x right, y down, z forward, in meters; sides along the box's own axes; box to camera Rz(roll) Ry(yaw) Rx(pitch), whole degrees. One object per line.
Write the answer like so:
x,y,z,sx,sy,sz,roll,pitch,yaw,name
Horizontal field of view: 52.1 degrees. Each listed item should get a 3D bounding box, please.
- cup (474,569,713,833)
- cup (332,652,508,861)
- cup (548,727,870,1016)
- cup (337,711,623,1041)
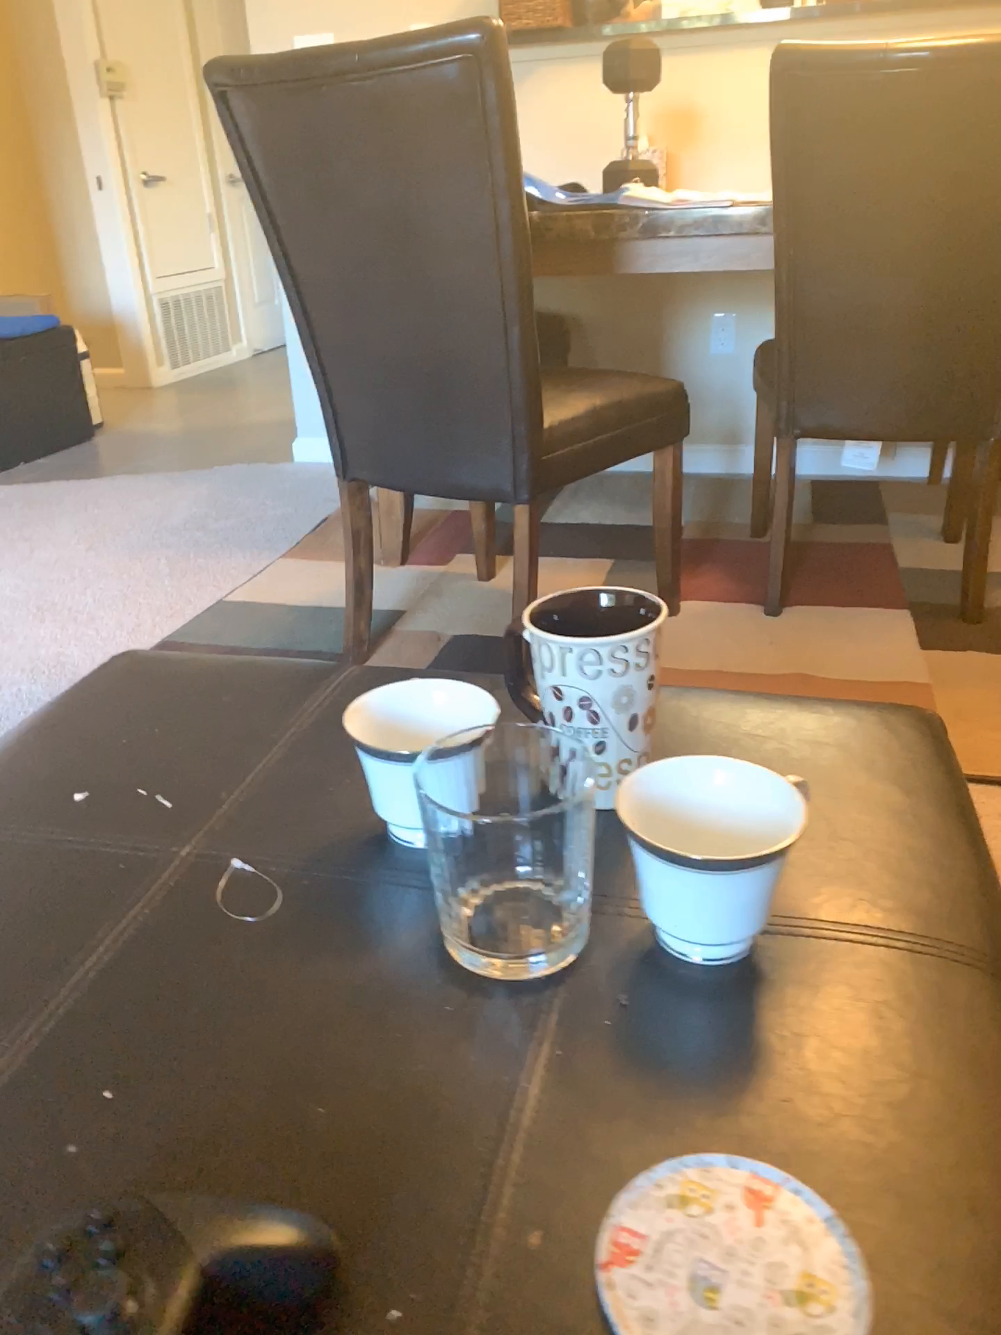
0.057,0.015,0.631,0.100,0.109,0.101,-2,25,1,cup
-0.047,0.049,0.606,0.090,0.070,0.111,-4,25,-3,cup
0.102,0.093,0.510,0.120,0.060,0.100,-21,31,-34,cup
-0.009,0.099,0.523,0.100,0.099,0.101,-2,25,1,cup
